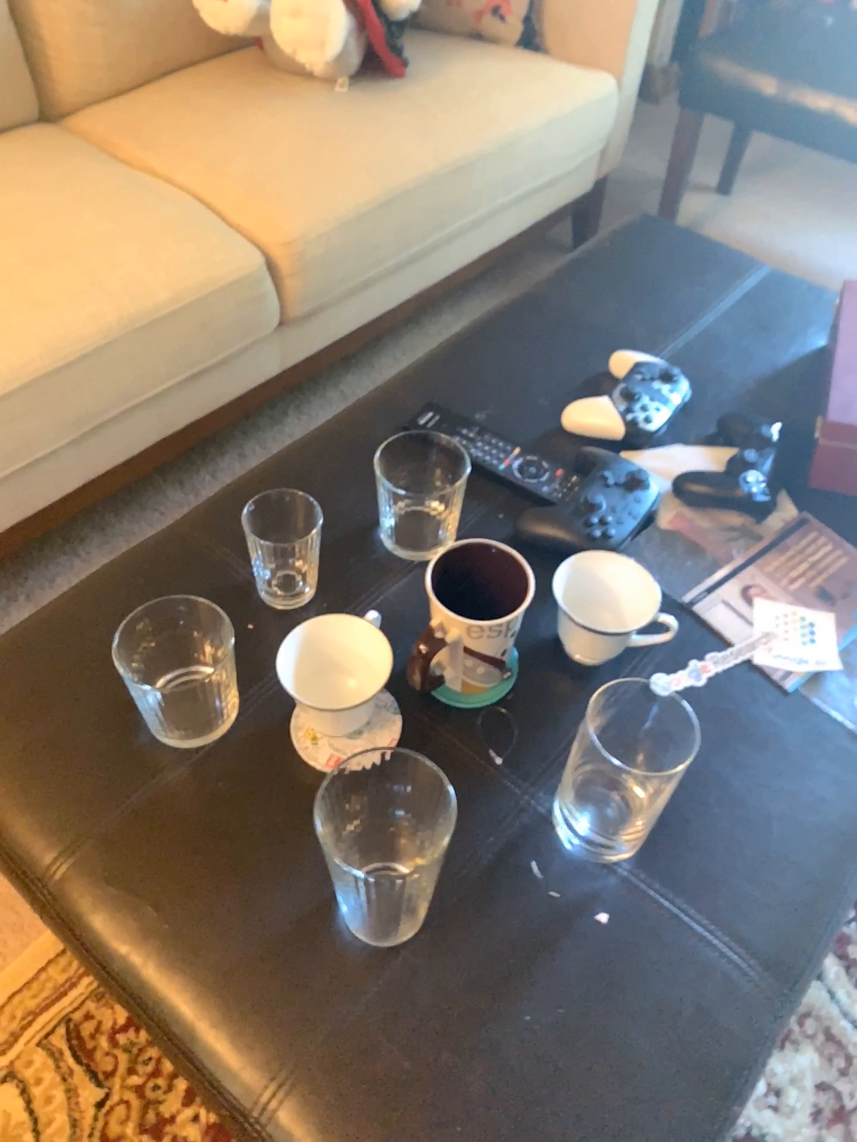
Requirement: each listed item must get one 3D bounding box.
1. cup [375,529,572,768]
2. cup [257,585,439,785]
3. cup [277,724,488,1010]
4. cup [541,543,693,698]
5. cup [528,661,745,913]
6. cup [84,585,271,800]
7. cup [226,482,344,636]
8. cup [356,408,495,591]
[{"bbox_3d":[0.034,0.063,0.728,0.090,0.119,0.130,35,56,22],"label":"cup"},{"bbox_3d":[-0.062,0.088,0.699,0.090,0.070,0.110,28,54,18],"label":"cup"},{"bbox_3d":[-0.032,0.208,0.603,0.090,0.189,0.090,2,51,-3],"label":"cup"},{"bbox_3d":[0.161,0.043,0.770,0.110,0.080,0.090,8,51,2],"label":"cup"},{"bbox_3d":[0.143,0.156,0.631,0.090,0.139,0.090,2,51,-3],"label":"cup"},{"bbox_3d":[-0.195,0.098,0.707,0.090,0.119,0.090,2,51,-3],"label":"cup"},{"bbox_3d":[-0.126,-0.010,0.793,0.070,0.100,0.070,2,51,-3],"label":"cup"},{"bbox_3d":[-0.006,-0.067,0.844,0.090,0.119,0.090,2,51,-3],"label":"cup"}]
